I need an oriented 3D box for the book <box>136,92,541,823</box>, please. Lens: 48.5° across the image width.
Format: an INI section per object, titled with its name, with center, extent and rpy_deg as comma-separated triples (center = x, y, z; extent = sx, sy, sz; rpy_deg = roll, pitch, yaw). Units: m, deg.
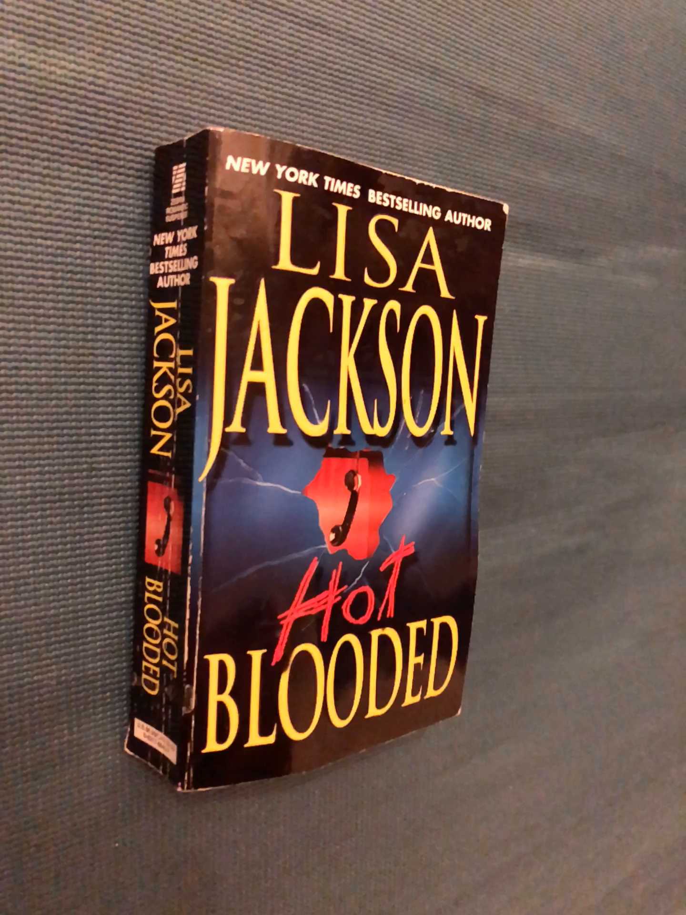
[book]
center = 0.000, 0.002, 0.223
extent = 0.104, 0.040, 0.171
rpy_deg = 0, 96, -35
